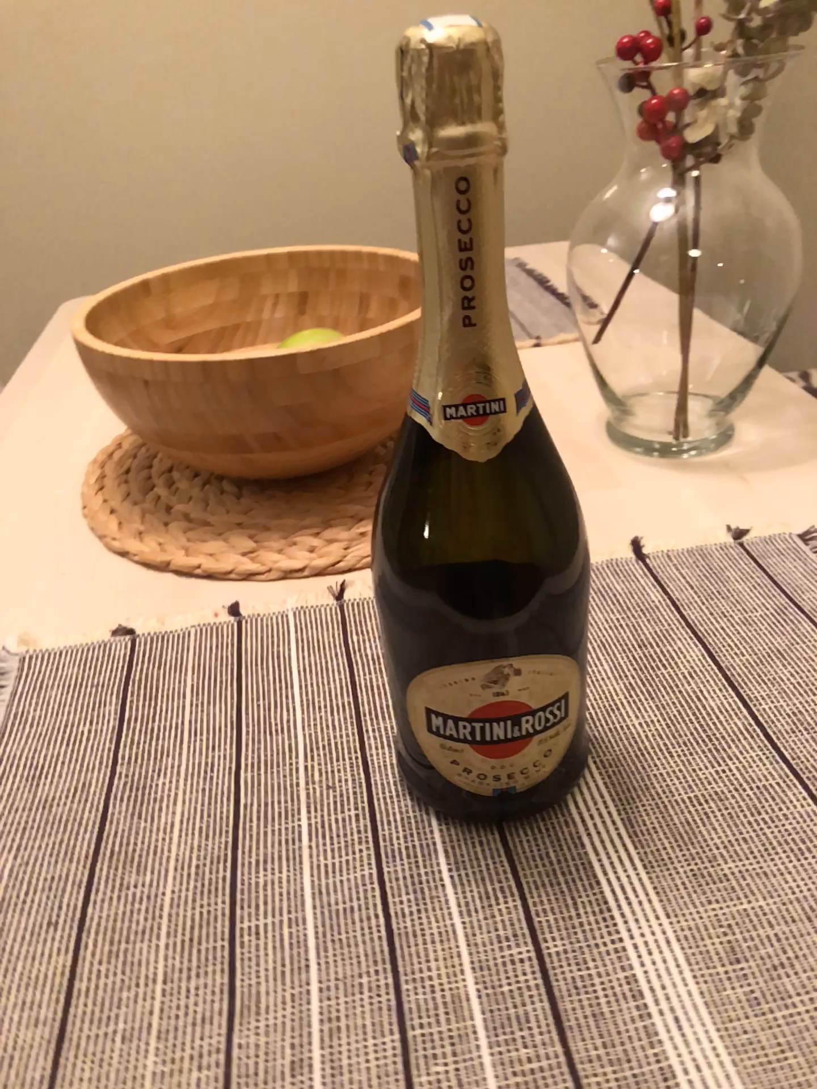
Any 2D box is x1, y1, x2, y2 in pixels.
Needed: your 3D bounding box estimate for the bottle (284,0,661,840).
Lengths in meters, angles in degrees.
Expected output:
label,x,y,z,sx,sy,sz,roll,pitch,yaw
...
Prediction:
label,x,y,z,sx,sy,sz,roll,pitch,yaw
bottle,0.029,-0.033,0.359,0.100,0.308,0.101,-4,30,2
